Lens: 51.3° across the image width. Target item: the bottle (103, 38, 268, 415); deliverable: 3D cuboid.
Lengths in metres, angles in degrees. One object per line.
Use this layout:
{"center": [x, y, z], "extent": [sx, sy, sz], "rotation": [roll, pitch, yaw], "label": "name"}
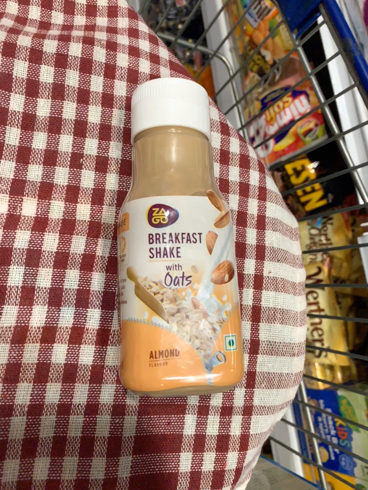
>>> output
{"center": [-0.002, -0.007, 0.175], "extent": [0.060, 0.050, 0.140], "rotation": [2, 86, -20], "label": "bottle"}
